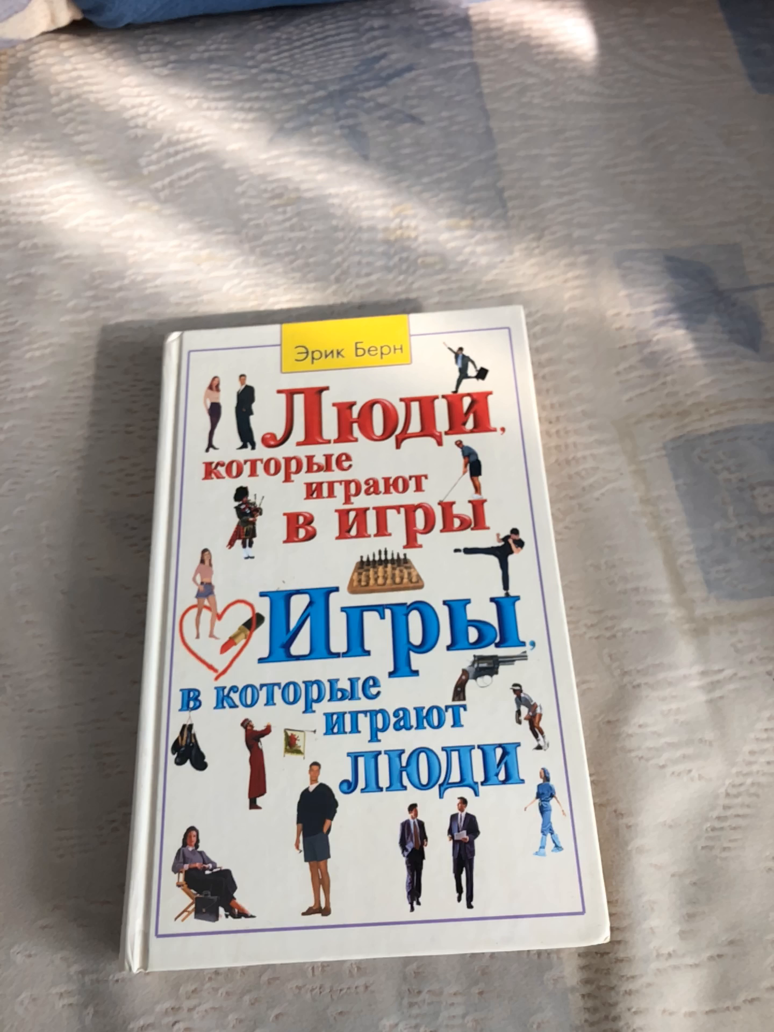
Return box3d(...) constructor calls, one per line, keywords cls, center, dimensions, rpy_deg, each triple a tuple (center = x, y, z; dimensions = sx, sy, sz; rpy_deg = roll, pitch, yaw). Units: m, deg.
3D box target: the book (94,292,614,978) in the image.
box3d(cls="book", center=(-0.014, 0.025, 0.279), dimensions=(0.135, 0.030, 0.211), rpy_deg=(-3, 66, 0))
